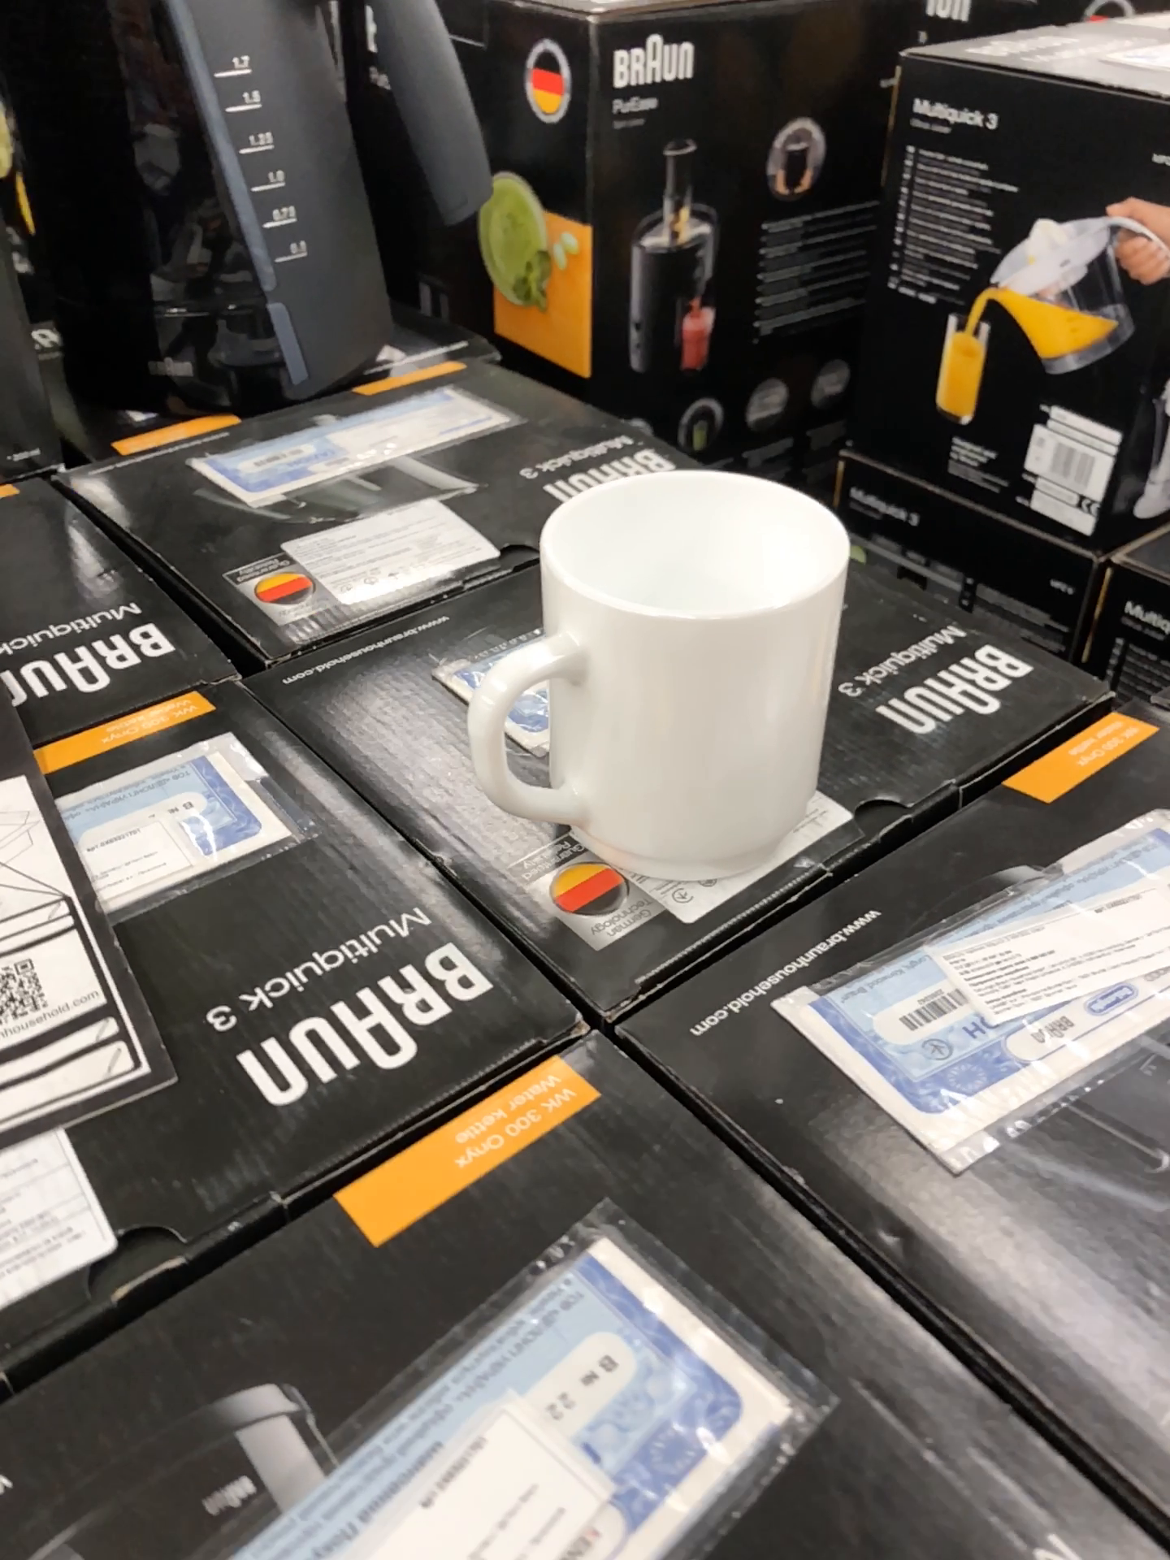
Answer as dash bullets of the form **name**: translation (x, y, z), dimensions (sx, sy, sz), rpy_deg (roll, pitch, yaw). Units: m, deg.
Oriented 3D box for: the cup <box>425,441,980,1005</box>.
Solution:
- **cup**: translation (0.031, -0.020, 0.348), dimensions (0.110, 0.091, 0.082), rpy_deg (-25, 42, -25)
